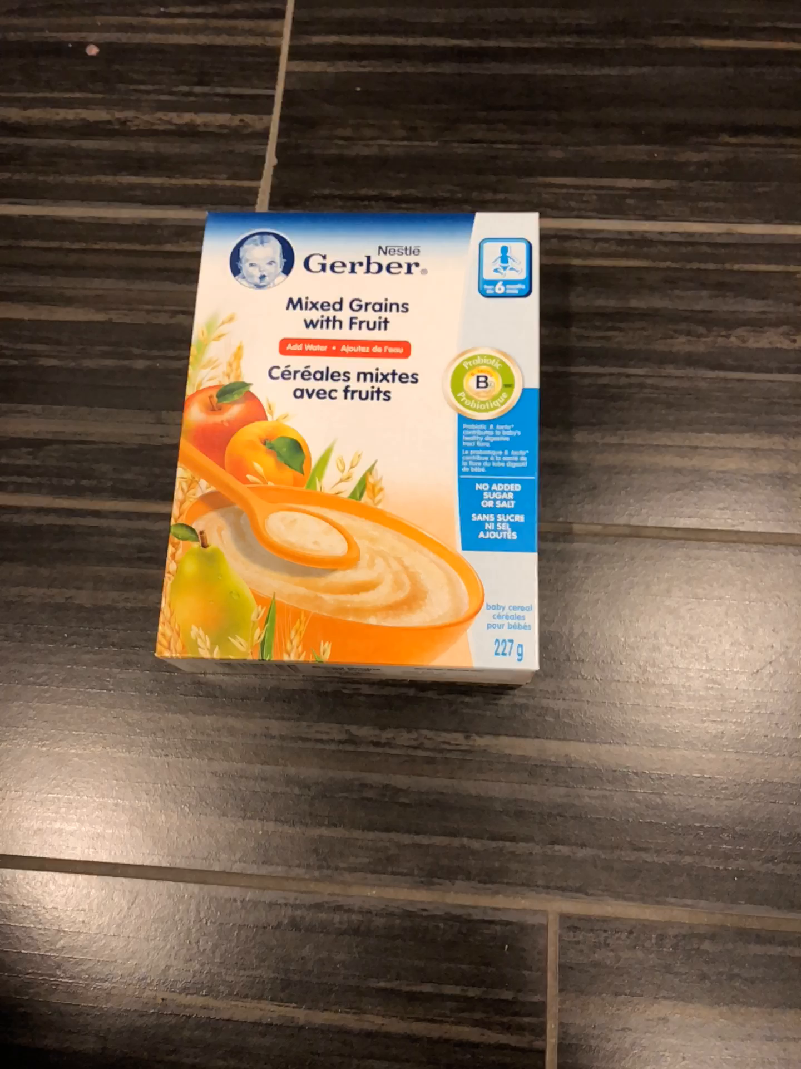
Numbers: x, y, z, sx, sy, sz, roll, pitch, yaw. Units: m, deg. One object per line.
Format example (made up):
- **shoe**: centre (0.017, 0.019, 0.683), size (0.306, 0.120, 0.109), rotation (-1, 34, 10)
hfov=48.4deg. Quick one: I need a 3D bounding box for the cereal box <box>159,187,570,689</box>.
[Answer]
- **cereal box**: centre (-0.008, -0.042, 0.374), size (0.150, 0.050, 0.200), rotation (2, 75, 3)
